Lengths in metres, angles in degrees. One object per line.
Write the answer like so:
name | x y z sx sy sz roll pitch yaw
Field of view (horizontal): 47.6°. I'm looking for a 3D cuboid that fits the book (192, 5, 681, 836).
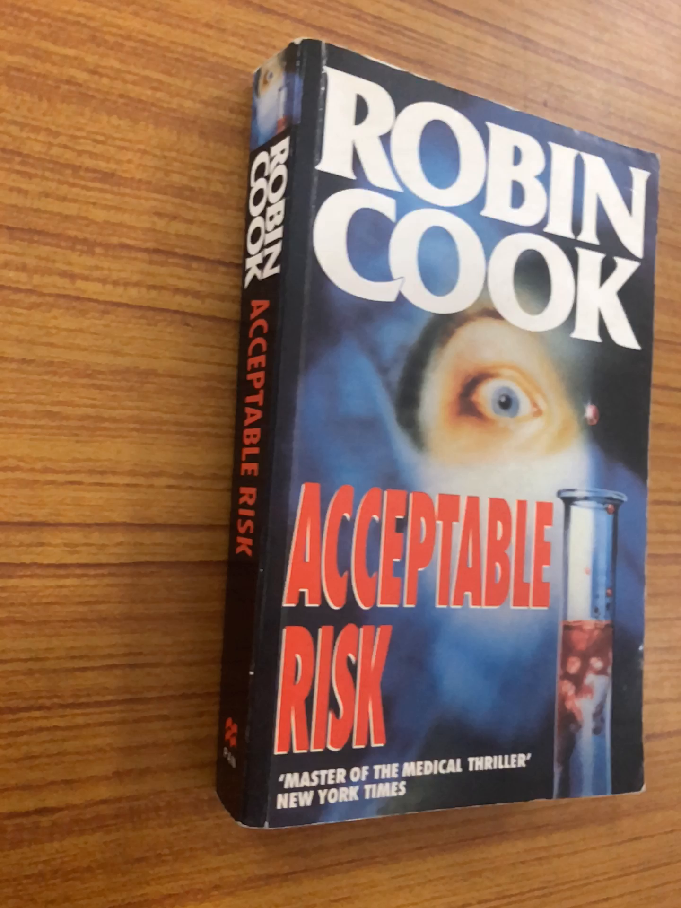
book | 0.028 -0.004 0.199 0.110 0.040 0.170 6 87 -26
